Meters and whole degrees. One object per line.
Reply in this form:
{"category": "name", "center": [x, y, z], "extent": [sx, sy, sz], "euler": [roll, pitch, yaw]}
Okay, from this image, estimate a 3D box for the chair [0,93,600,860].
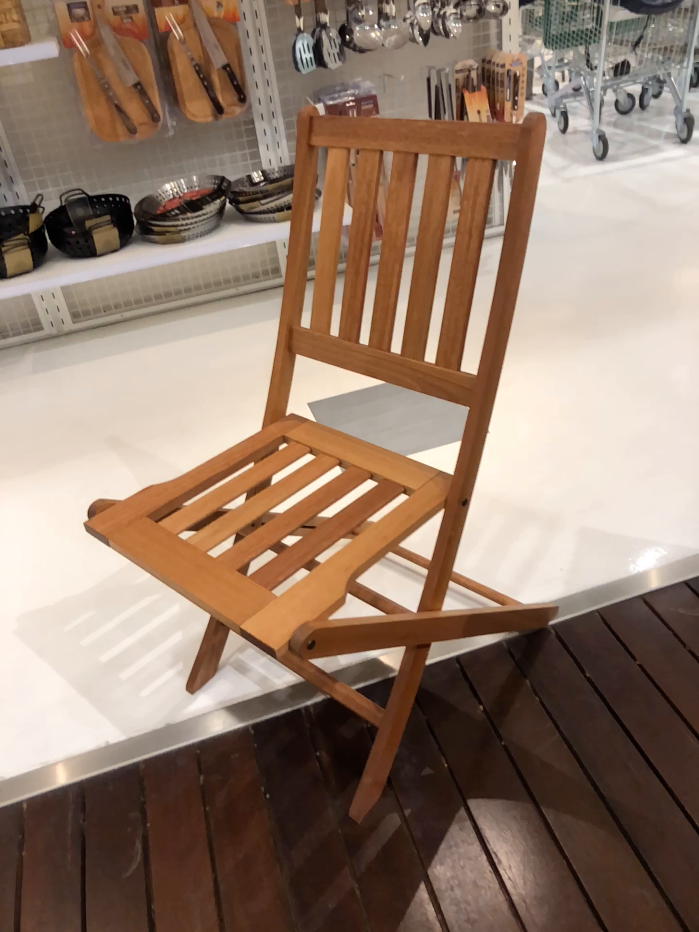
{"category": "chair", "center": [-0.021, -0.028, 1.157], "extent": [0.502, 0.863, 0.602], "euler": [21, 44, 37]}
